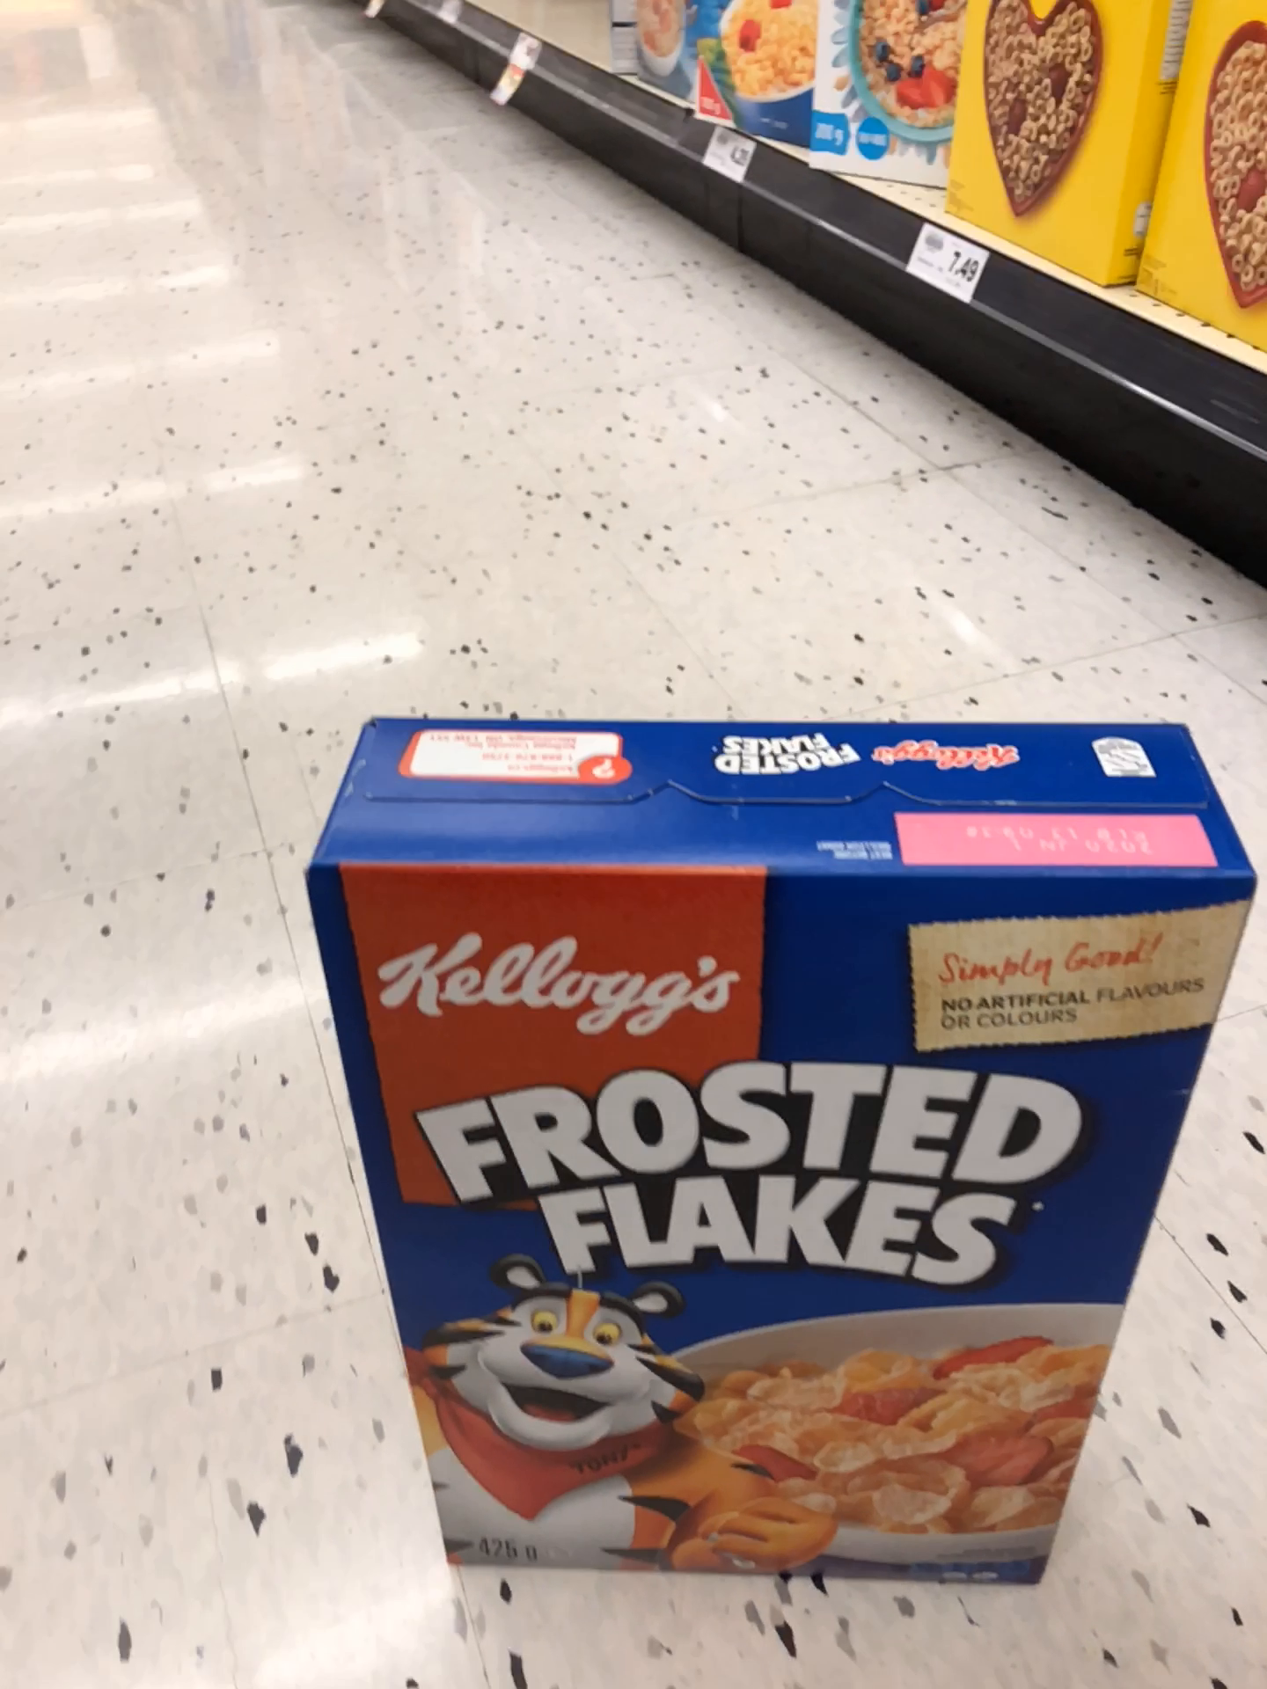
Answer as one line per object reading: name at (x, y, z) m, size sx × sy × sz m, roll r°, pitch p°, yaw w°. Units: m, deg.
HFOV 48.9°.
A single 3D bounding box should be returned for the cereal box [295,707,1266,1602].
cereal box at (0.037, 0.104, 0.388) m, size 0.200 × 0.288 × 0.070 m, roll 1°, pitch 38°, yaw 3°
